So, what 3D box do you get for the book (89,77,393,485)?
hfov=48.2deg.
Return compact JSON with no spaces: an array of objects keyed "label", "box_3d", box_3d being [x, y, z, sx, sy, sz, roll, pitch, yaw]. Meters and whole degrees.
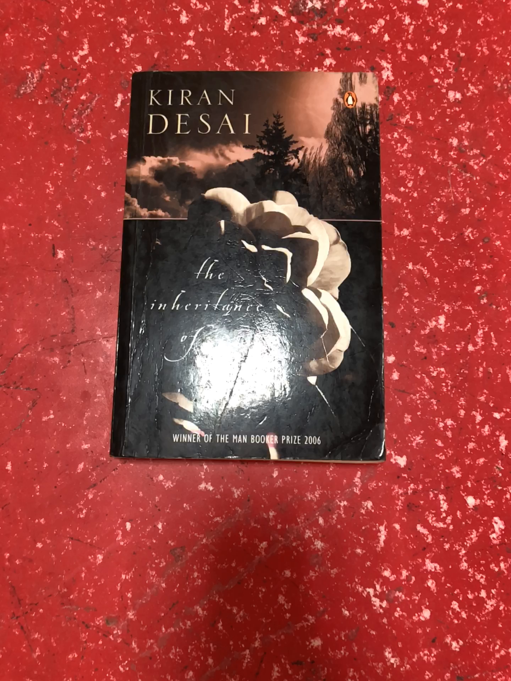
[{"label":"book","box_3d":[-0.004,-0.028,0.290,0.130,0.060,0.190,1,81,1]}]
